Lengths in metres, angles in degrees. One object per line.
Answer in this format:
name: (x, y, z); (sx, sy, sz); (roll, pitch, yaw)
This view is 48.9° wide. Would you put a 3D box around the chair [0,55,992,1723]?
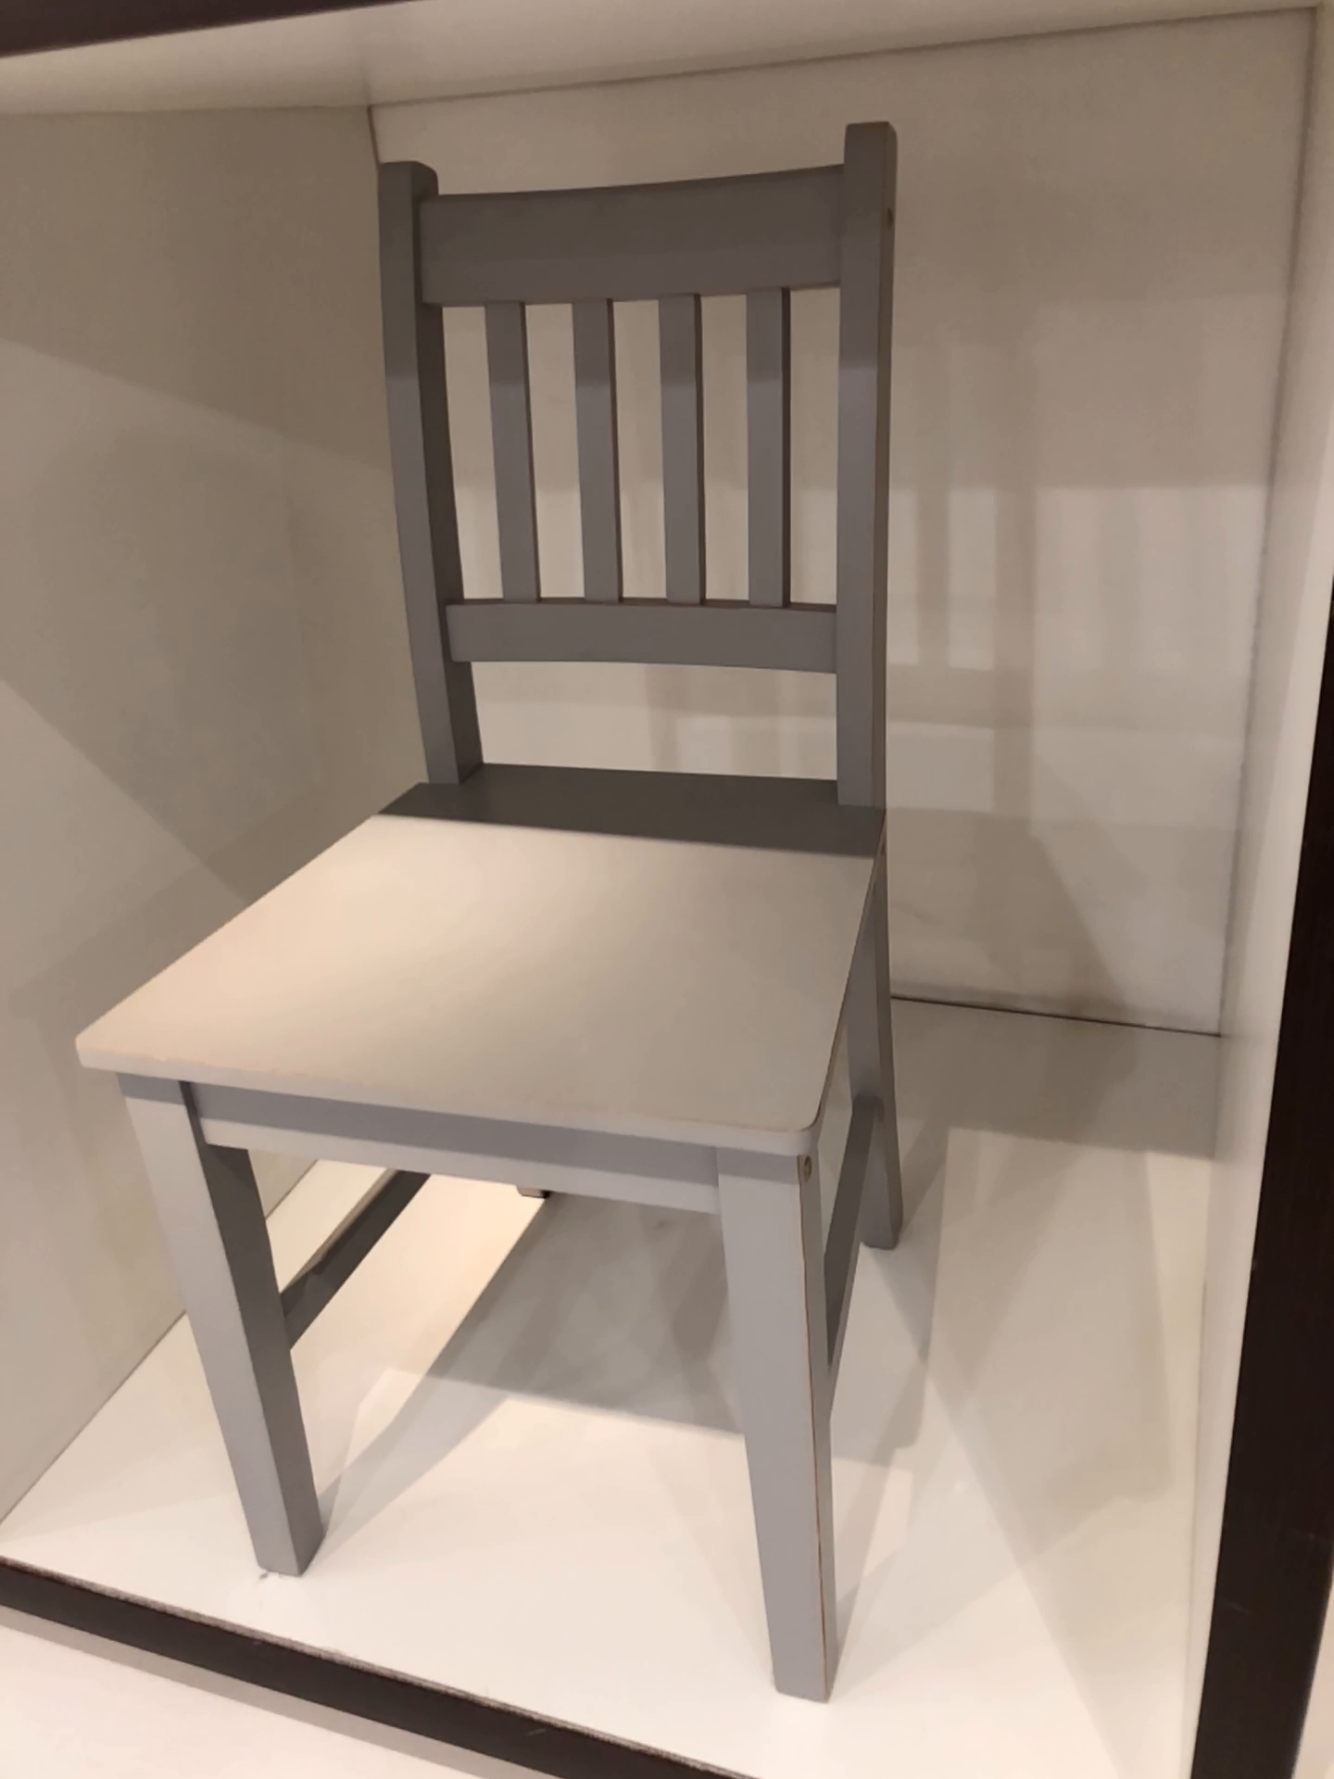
chair: (-0.055, -0.041, 0.991); (0.460, 0.864, 0.584); (4, 28, 18)
